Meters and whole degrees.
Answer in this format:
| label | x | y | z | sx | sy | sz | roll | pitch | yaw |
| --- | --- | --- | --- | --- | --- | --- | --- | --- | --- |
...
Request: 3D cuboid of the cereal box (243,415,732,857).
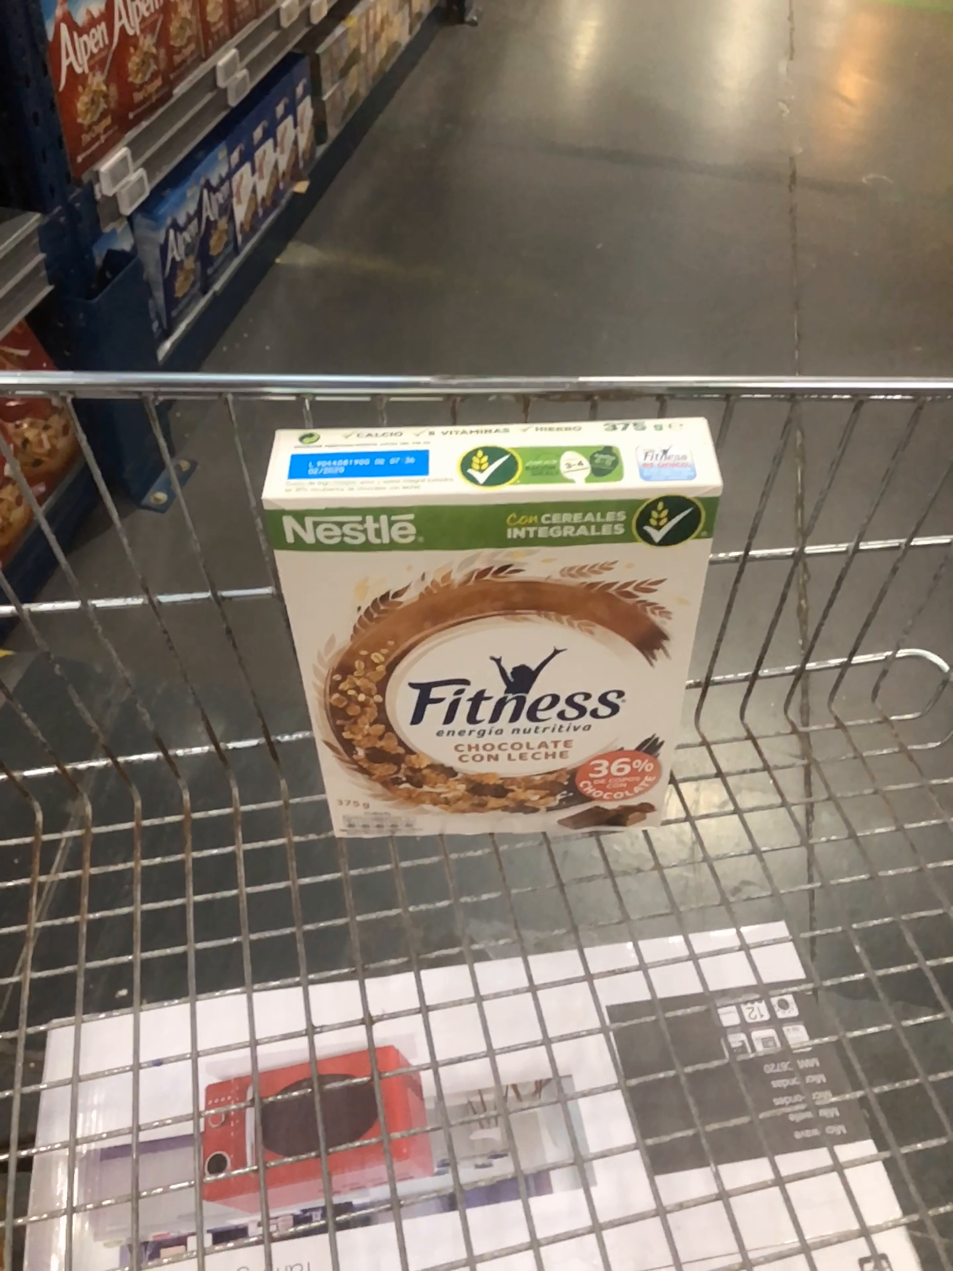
| label | x | y | z | sx | sy | sz | roll | pitch | yaw |
| --- | --- | --- | --- | --- | --- | --- | --- | --- | --- |
| cereal box | 0.006 | 0.015 | 0.546 | 0.200 | 0.259 | 0.060 | -1 | 46 | 0 |
